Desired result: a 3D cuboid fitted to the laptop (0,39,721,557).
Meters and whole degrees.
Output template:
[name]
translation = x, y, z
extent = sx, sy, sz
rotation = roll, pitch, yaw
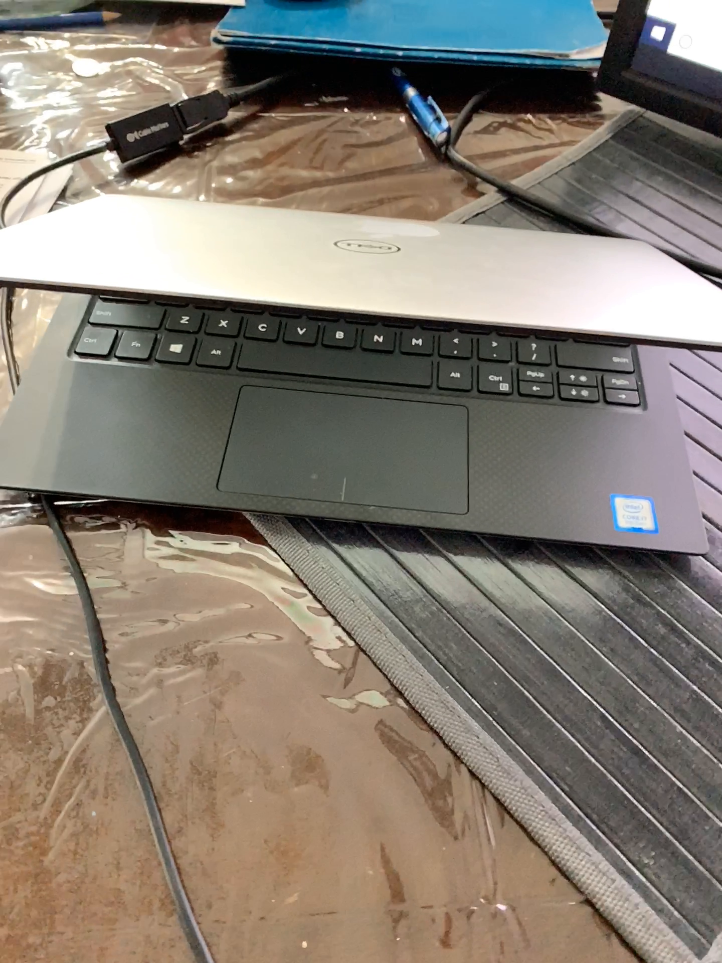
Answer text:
[laptop]
translation = 0.002, -0.085, 0.312
extent = 0.290, 0.085, 0.185
rotation = 6, 53, 1
